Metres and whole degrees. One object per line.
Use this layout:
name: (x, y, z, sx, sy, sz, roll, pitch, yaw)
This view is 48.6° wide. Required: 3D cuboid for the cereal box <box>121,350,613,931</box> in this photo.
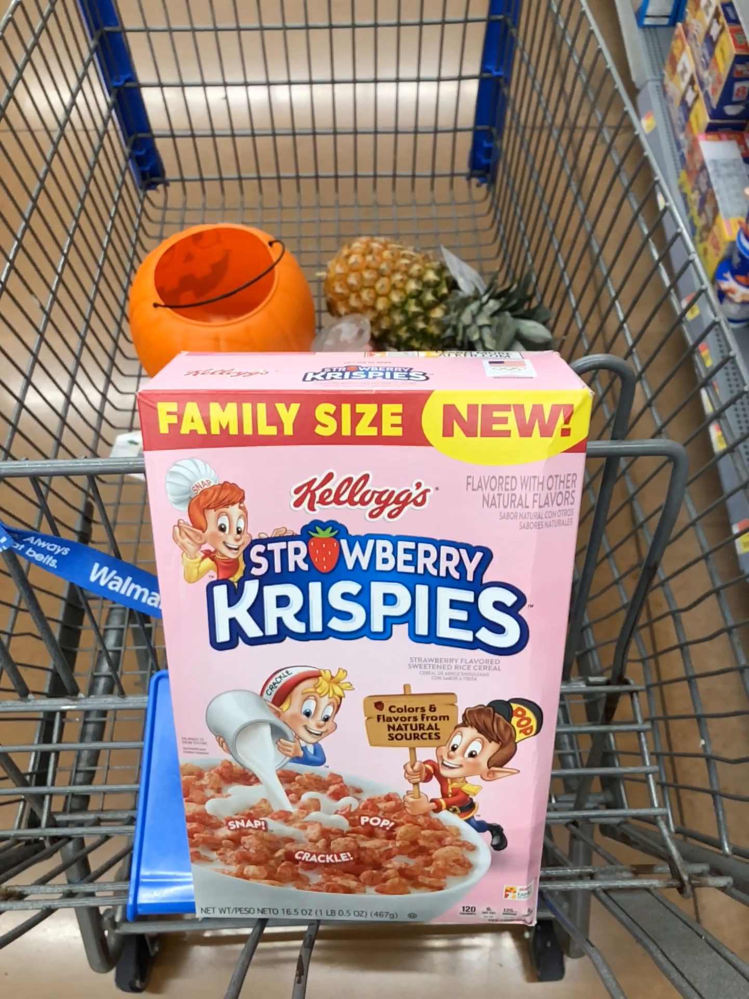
cereal box: (-0.003, 0.076, 0.425, 0.200, 0.290, 0.080, 0, 20, -1)
